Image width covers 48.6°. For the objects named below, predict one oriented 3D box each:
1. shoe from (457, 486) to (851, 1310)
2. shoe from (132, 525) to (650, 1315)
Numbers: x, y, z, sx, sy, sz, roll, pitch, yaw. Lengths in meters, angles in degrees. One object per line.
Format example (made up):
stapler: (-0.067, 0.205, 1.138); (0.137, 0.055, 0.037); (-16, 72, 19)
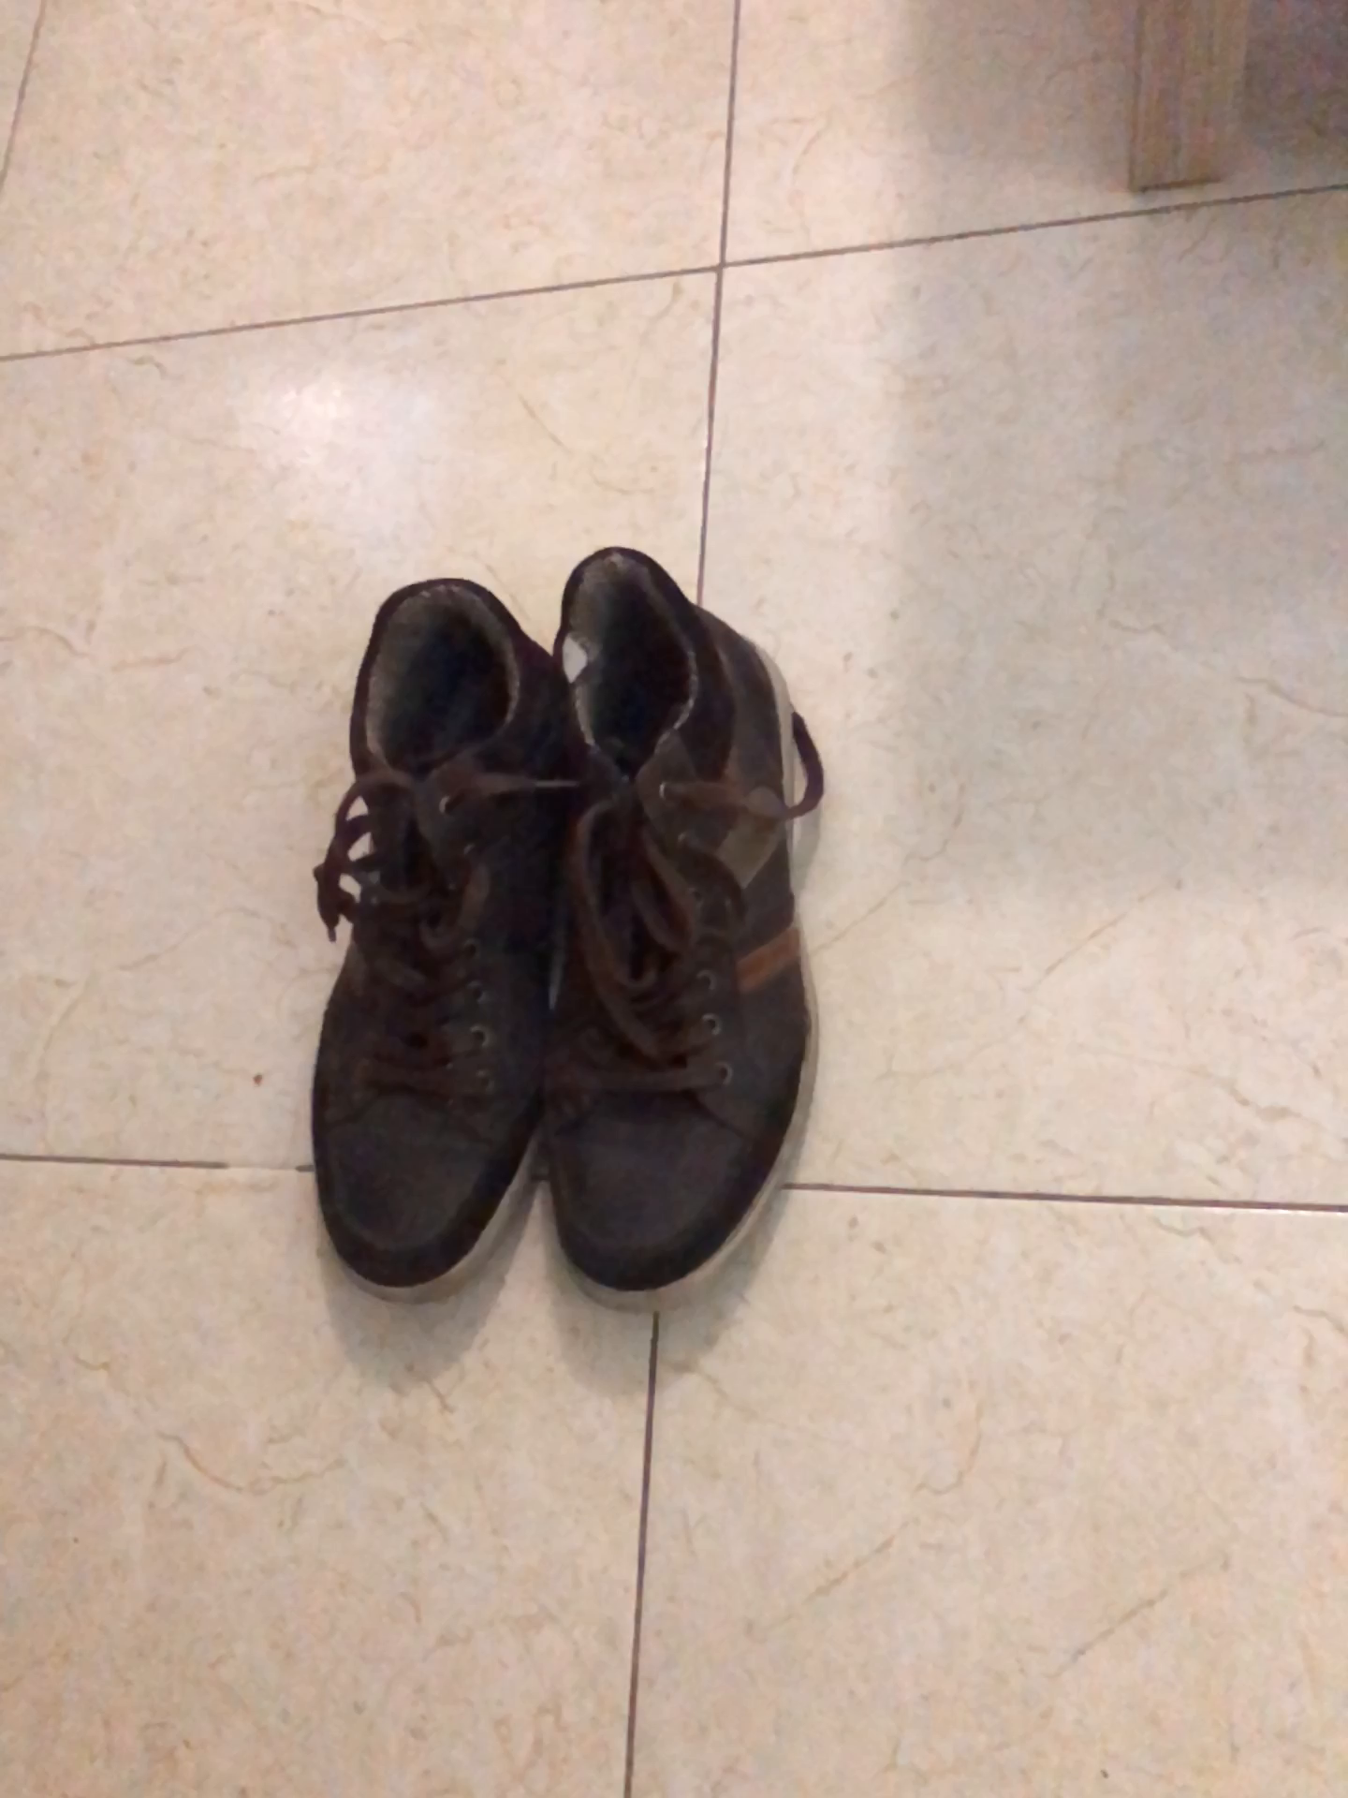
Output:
shoe: (-0.003, 0.005, 0.594); (0.120, 0.110, 0.300); (-5, 72, 14)
shoe: (-0.105, 0.007, 0.619); (0.120, 0.110, 0.300); (4, 74, 16)
